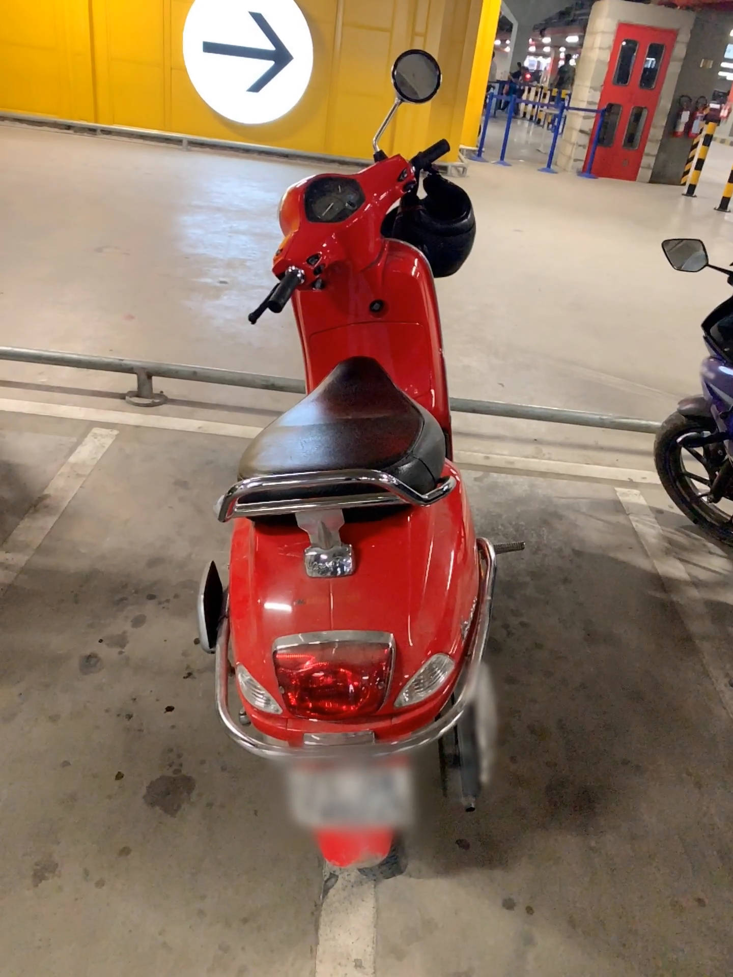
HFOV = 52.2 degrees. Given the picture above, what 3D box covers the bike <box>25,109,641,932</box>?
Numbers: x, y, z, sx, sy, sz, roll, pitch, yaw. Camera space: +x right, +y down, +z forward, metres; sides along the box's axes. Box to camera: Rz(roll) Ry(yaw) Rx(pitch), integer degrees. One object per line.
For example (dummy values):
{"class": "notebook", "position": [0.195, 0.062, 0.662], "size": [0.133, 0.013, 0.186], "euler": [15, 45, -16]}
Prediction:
{"class": "bike", "position": [-0.161, -0.151, 1.789], "size": [0.632, 1.201, 1.688], "euler": [4, 29, -7]}
